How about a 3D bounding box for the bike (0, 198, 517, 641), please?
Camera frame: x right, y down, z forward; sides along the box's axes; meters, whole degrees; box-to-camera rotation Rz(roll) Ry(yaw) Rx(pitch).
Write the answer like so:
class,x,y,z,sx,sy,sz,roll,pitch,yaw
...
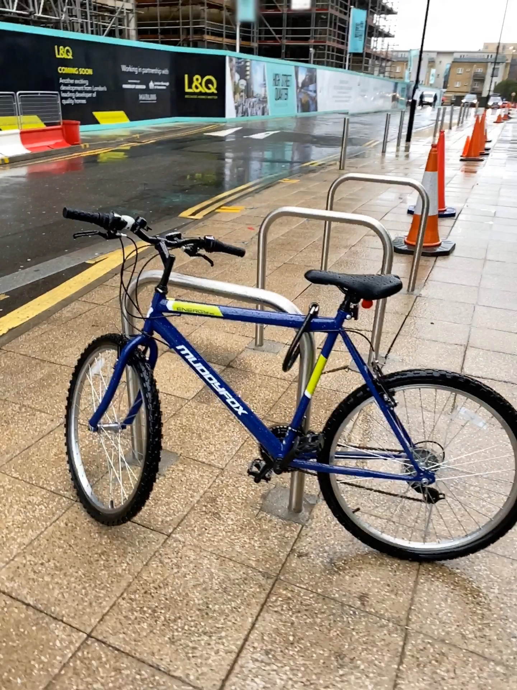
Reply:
class,x,y,z,sx,sy,sz,roll,pitch,yaw
bike,0.056,0.122,1.692,1.593,1.013,0.600,8,26,17
